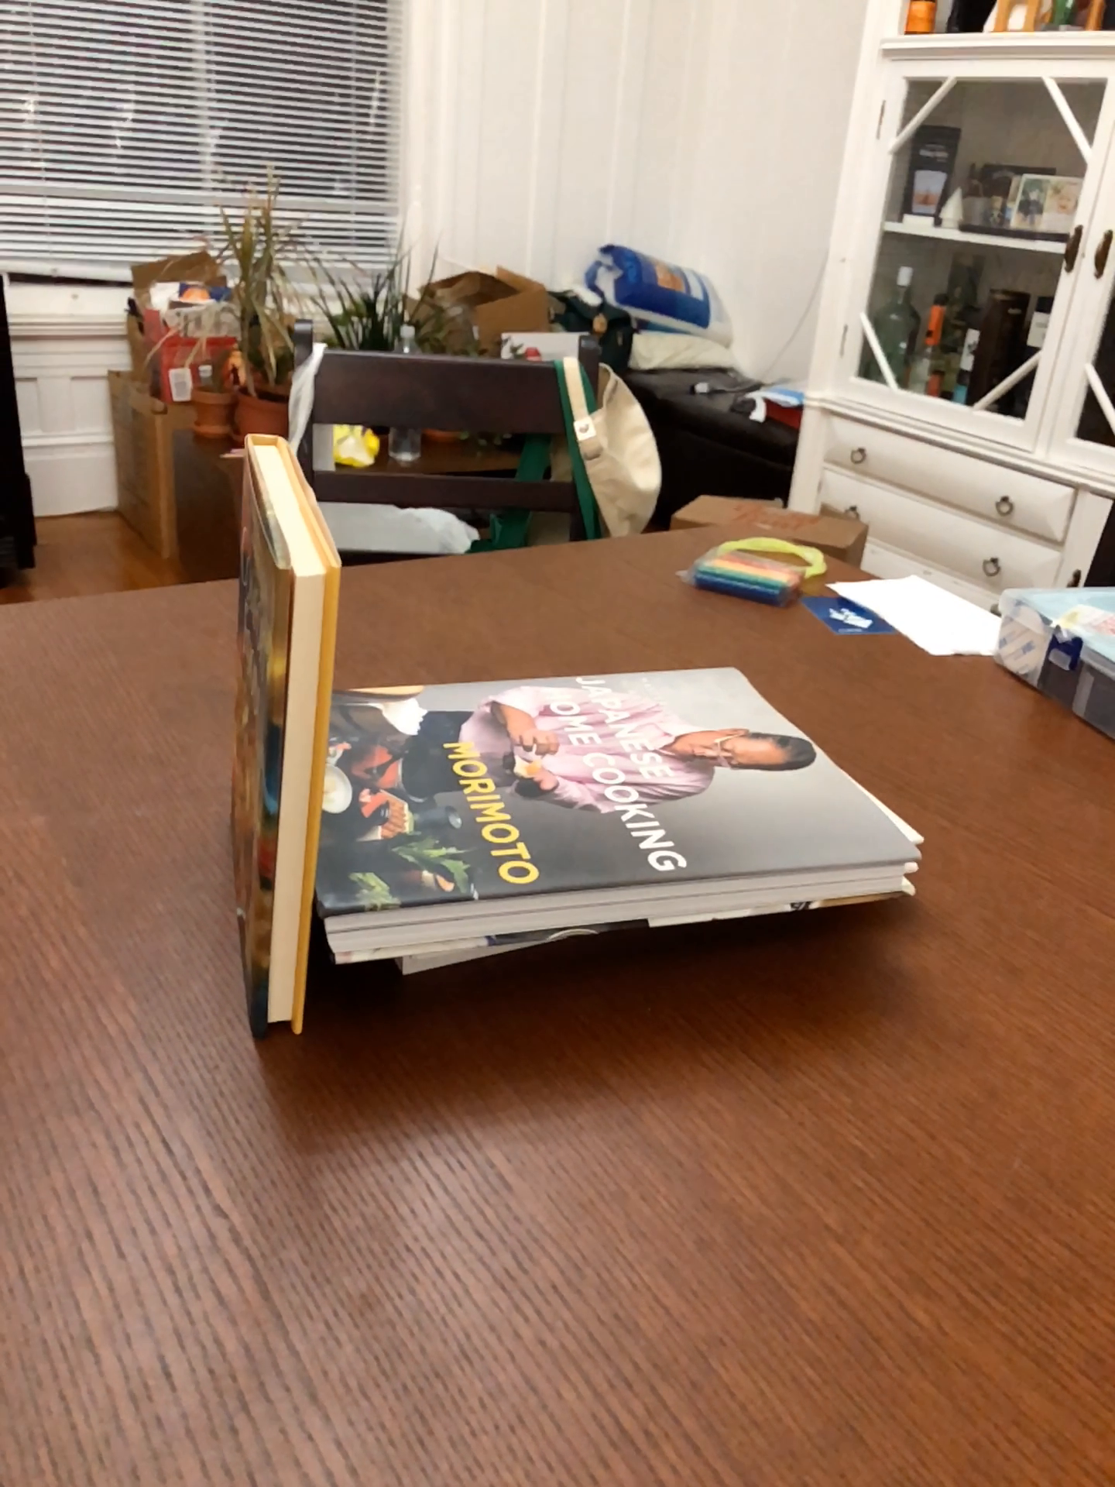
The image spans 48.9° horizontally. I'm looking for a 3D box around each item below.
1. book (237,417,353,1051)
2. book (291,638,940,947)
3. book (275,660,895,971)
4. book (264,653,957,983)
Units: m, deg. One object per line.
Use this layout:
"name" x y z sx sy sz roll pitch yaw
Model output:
"book" -0.124 -0.016 0.550 0.030 0.209 0.211 -1 27 -17
"book" 0.020 0.009 0.662 0.280 0.030 0.221 -8 28 -22
"book" 0.006 0.023 0.694 0.280 0.030 0.221 -9 29 -24
"book" 0.010 0.019 0.604 0.280 0.030 0.221 -5 27 -17
